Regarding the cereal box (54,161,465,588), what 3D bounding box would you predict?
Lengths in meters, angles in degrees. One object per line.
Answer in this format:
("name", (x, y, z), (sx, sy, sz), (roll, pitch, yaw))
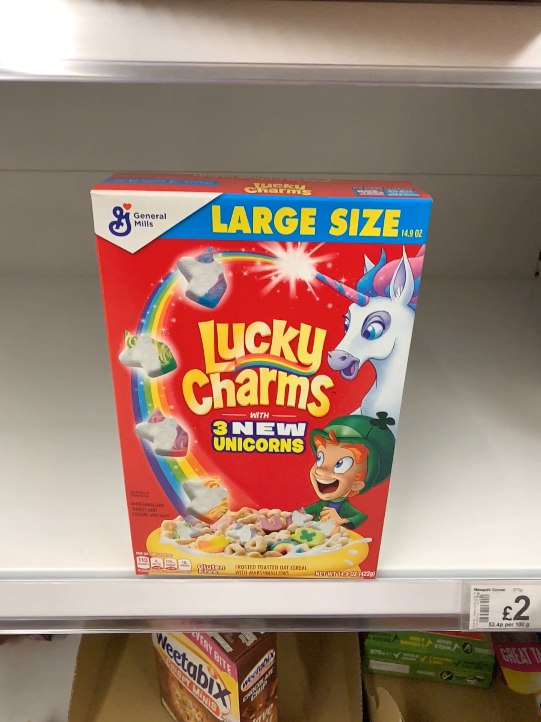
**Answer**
("cereal box", (-0.007, 0.022, 0.380), (0.210, 0.288, 0.071), (1, 26, 0))
